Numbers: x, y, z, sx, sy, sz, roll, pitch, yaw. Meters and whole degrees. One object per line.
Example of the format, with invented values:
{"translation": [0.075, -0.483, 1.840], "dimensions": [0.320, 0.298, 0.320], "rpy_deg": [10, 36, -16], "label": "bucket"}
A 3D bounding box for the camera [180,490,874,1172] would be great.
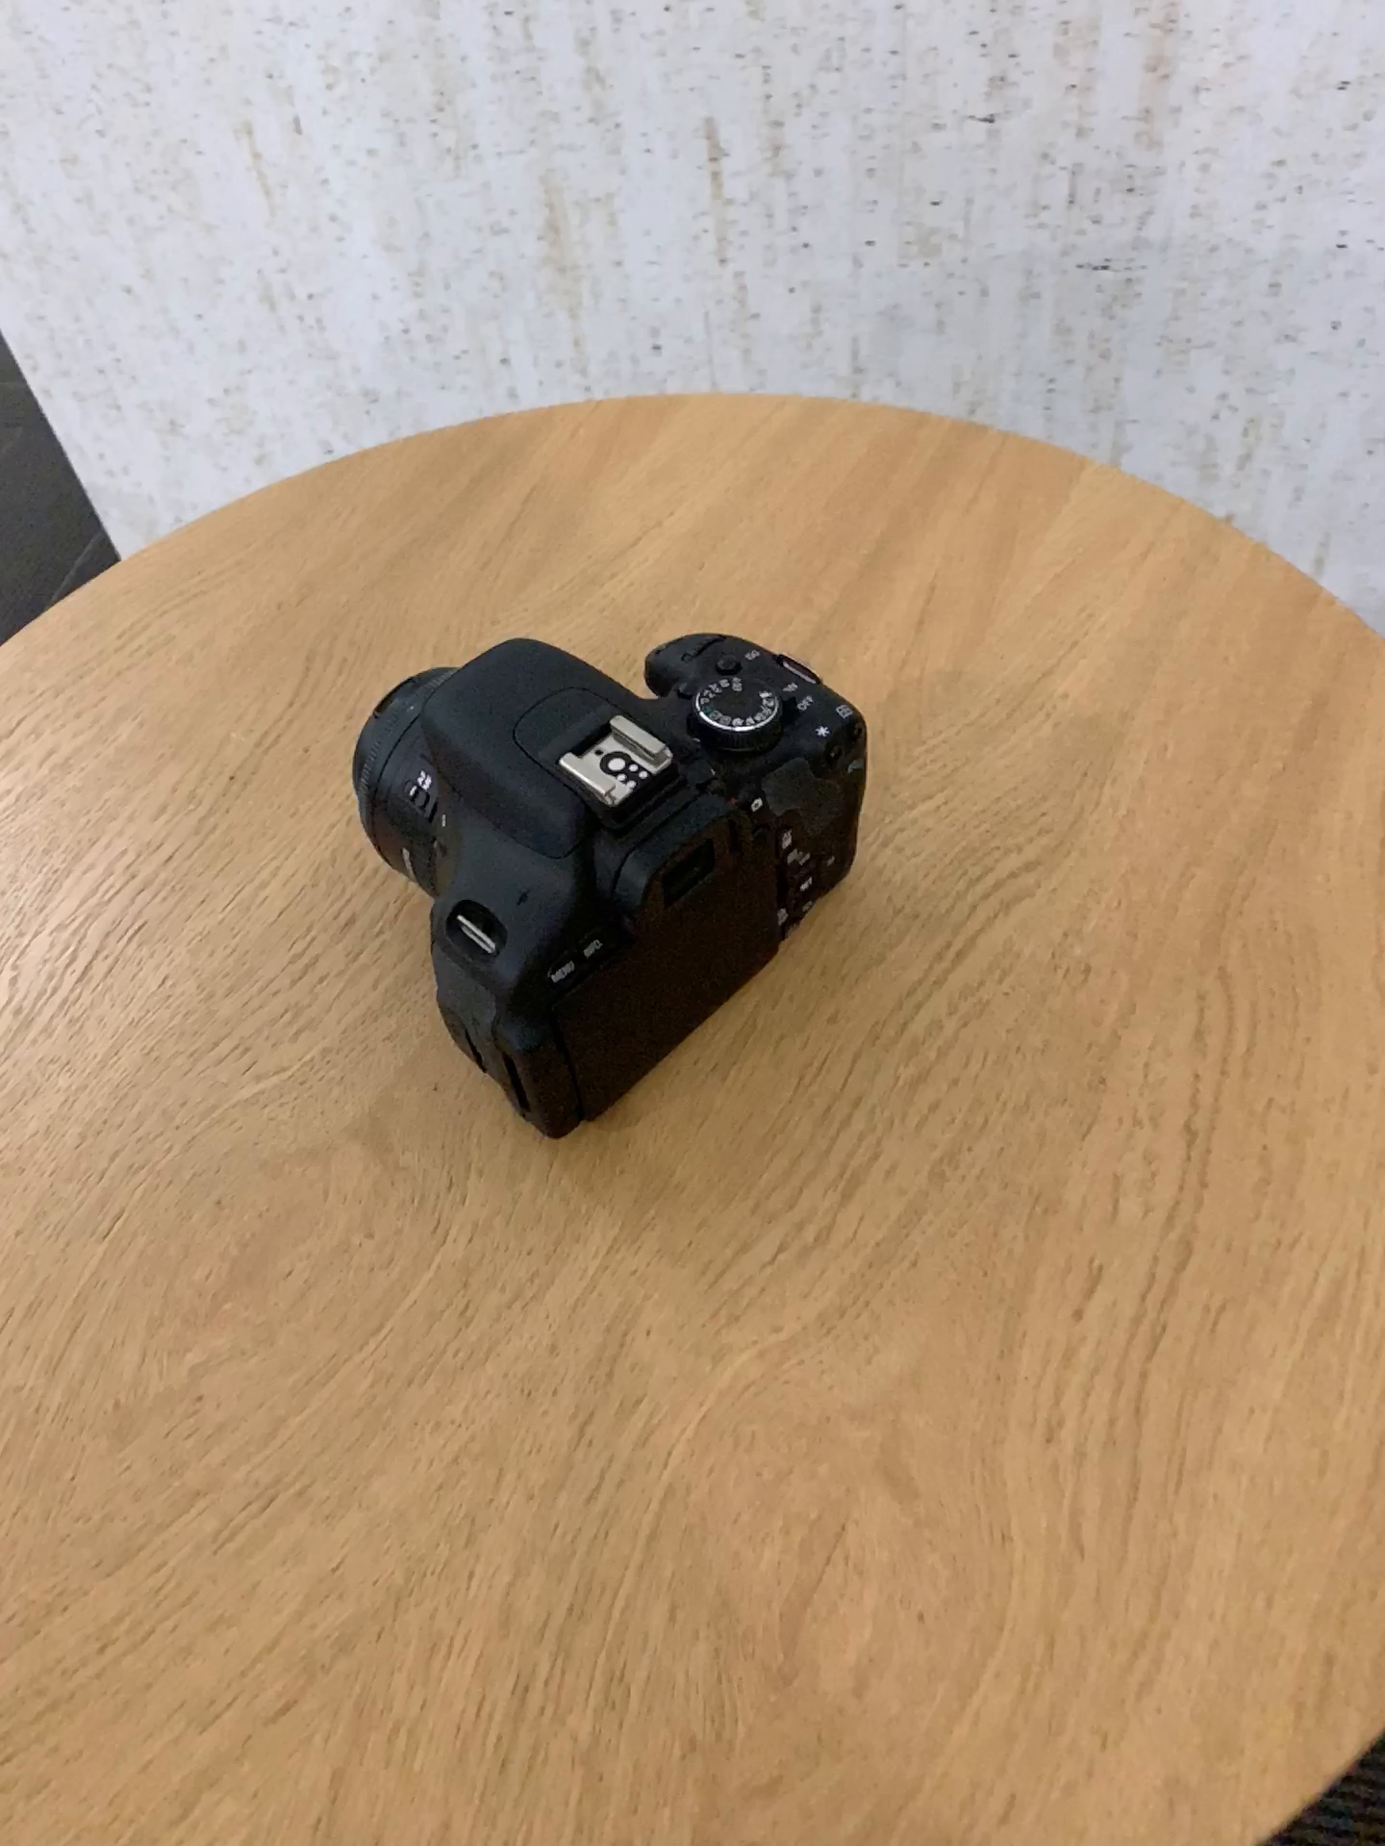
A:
{"translation": [-0.039, -0.030, 0.384], "dimensions": [0.126, 0.080, 0.120], "rpy_deg": [36, 64, 27], "label": "camera"}
